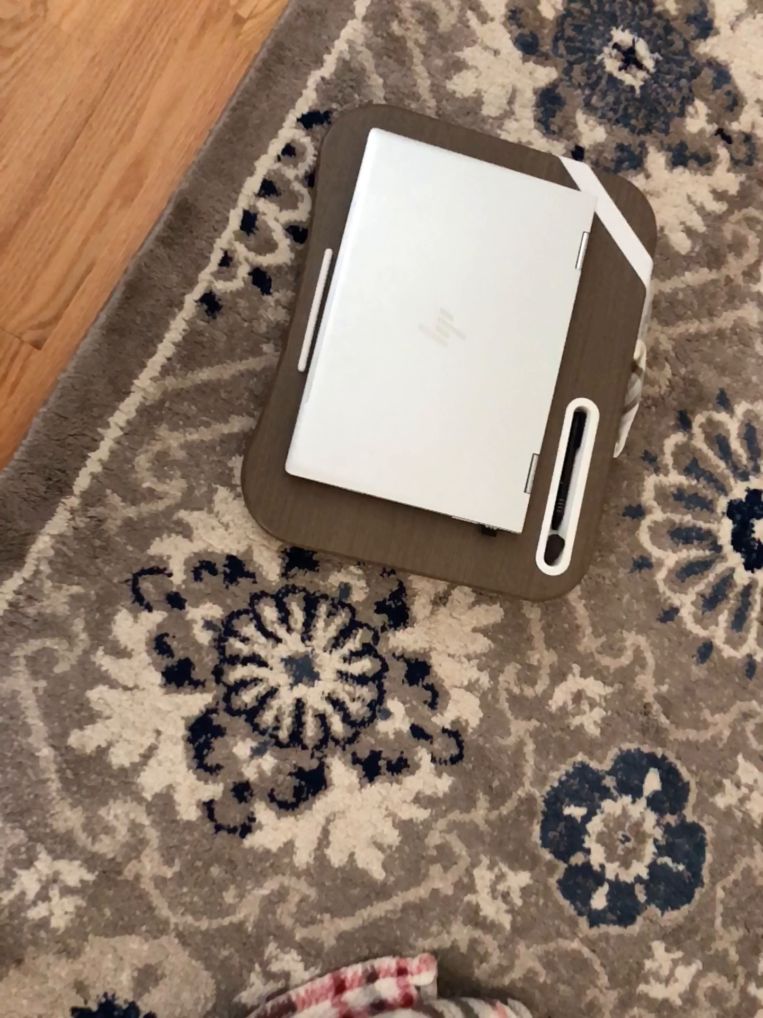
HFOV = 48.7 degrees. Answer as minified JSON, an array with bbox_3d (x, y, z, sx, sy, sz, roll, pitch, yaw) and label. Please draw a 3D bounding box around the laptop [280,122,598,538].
[{"bbox_3d":[0.062,-0.174,0.833,0.241,0.026,0.354,15,83,-9],"label":"laptop"}]
